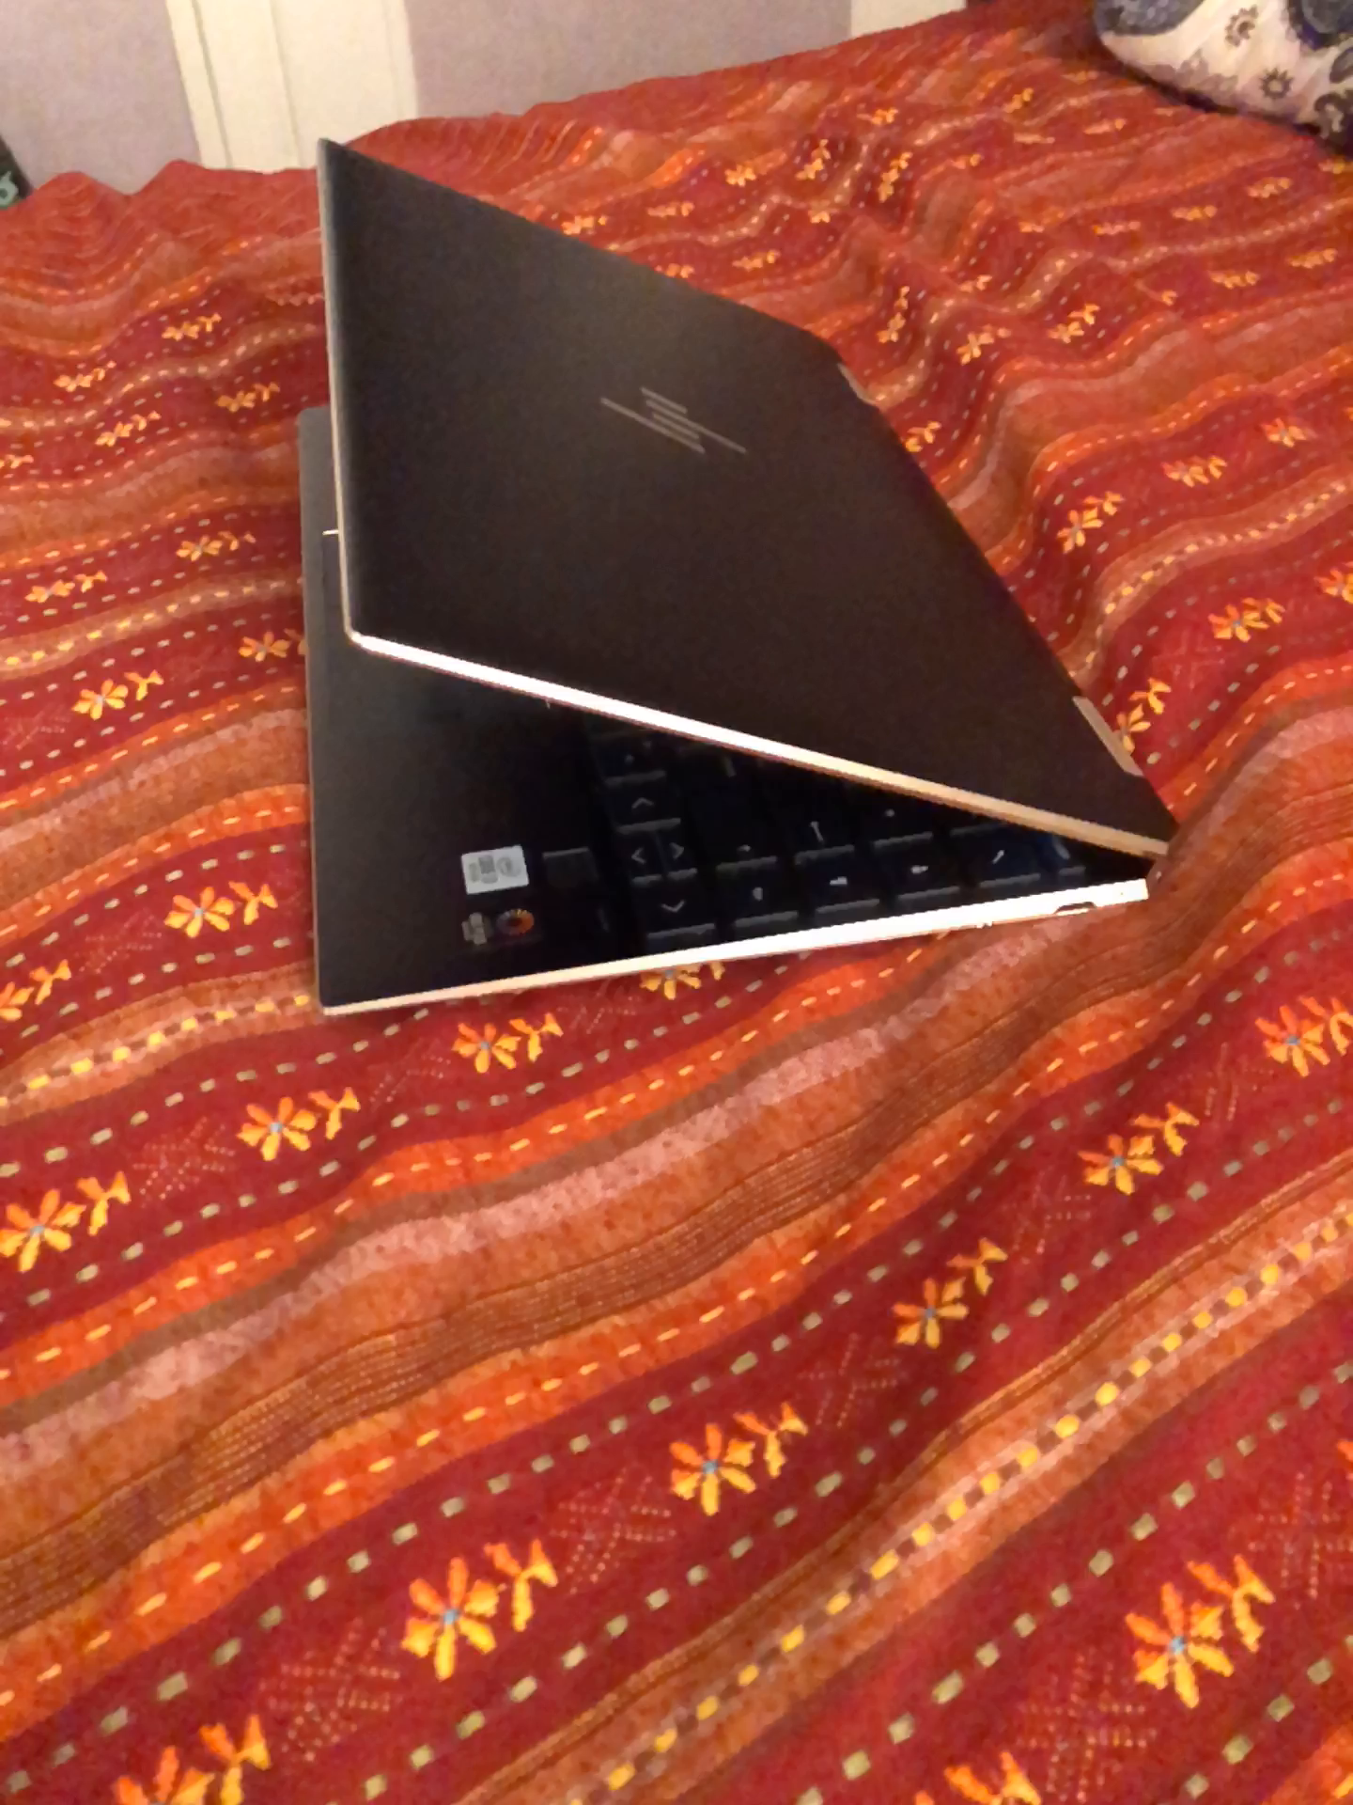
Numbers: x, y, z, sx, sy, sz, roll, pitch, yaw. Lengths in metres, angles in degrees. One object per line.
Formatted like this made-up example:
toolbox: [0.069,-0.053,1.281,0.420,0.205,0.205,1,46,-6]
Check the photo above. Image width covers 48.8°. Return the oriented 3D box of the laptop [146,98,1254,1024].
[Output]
laptop: [-0.010,-0.133,0.418,0.202,0.101,0.327,-6,40,-10]
